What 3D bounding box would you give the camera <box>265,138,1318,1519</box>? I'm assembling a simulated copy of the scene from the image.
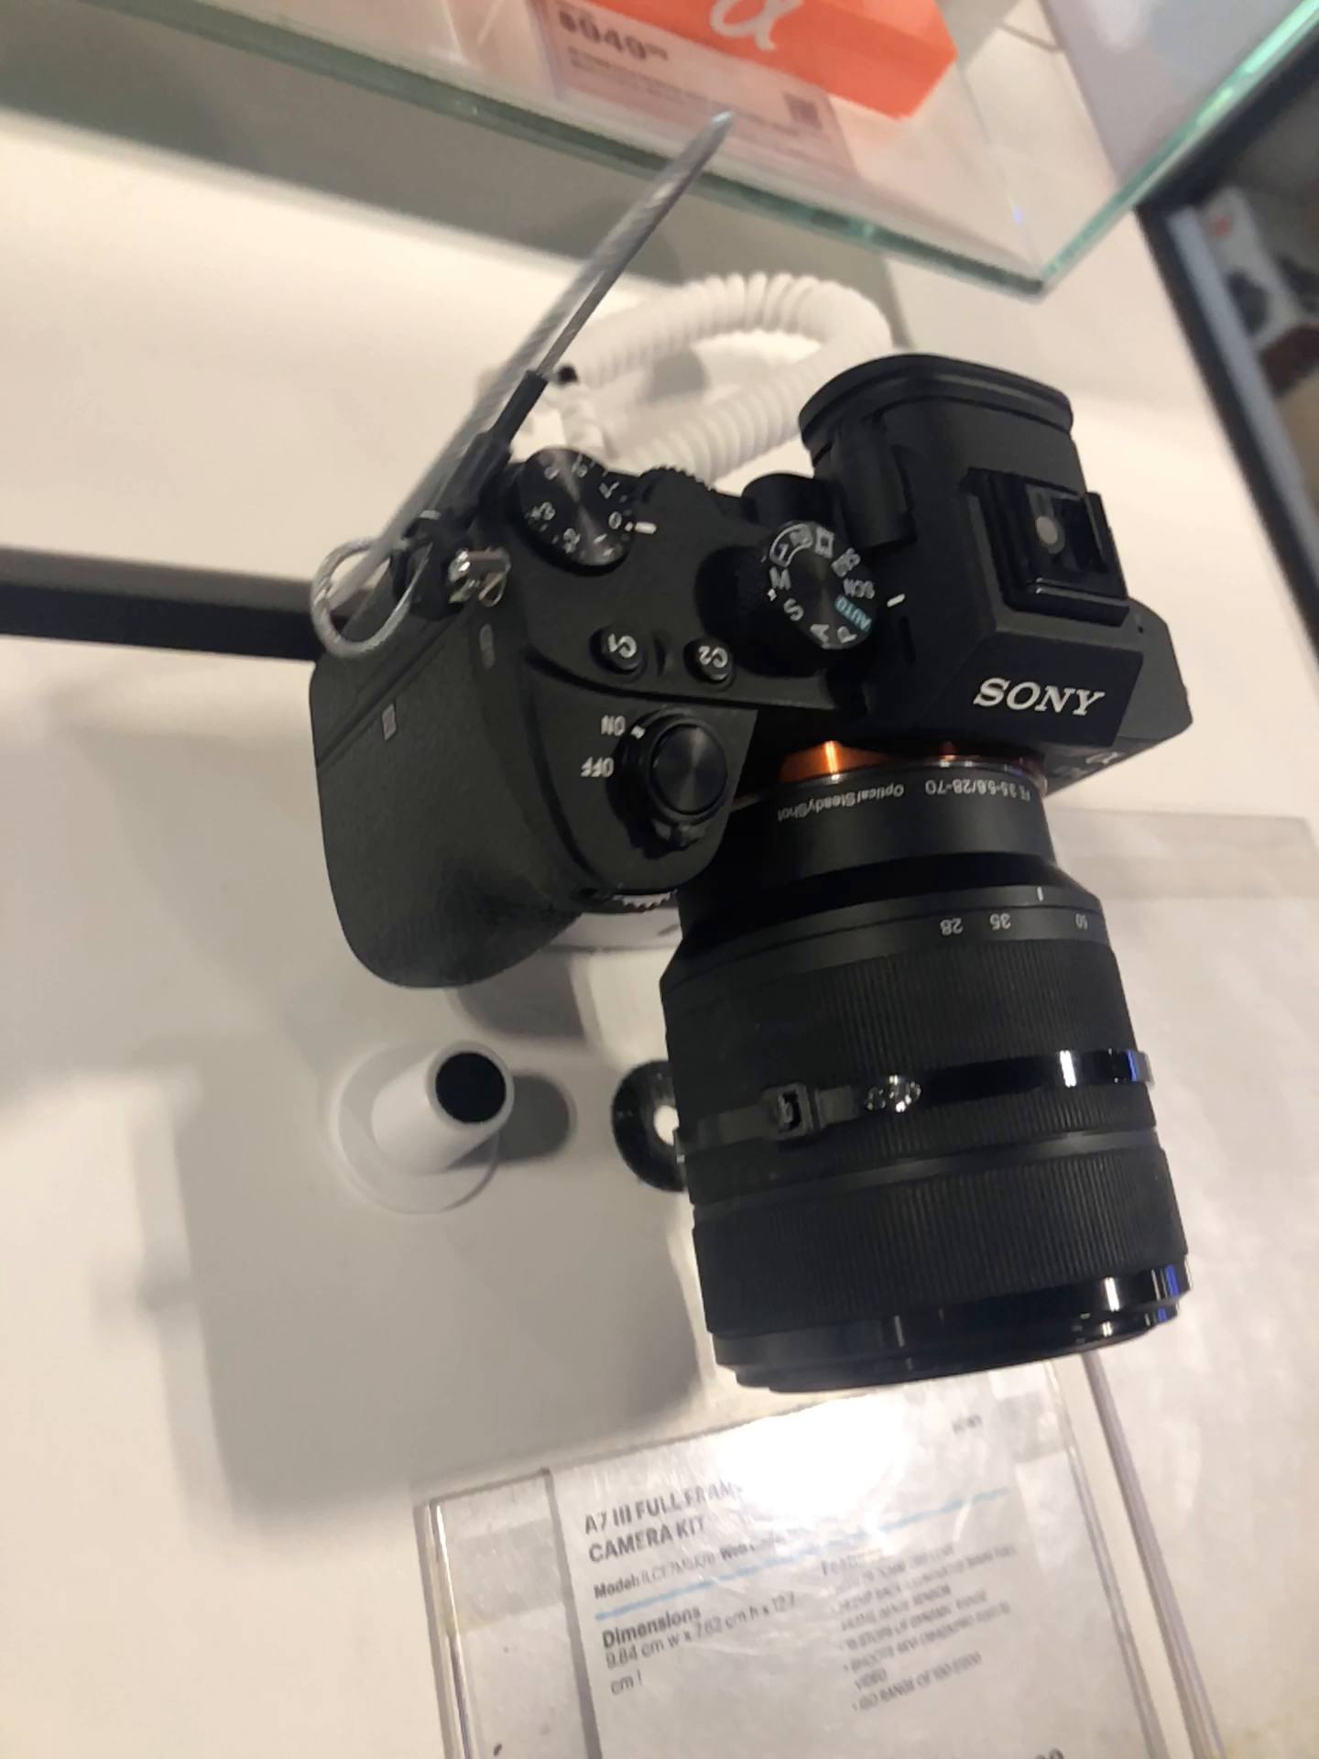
[{"bbox_3d":[0.028,0.002,0.203,0.120,0.099,0.130,-1,68,-34],"label":"camera"}]
